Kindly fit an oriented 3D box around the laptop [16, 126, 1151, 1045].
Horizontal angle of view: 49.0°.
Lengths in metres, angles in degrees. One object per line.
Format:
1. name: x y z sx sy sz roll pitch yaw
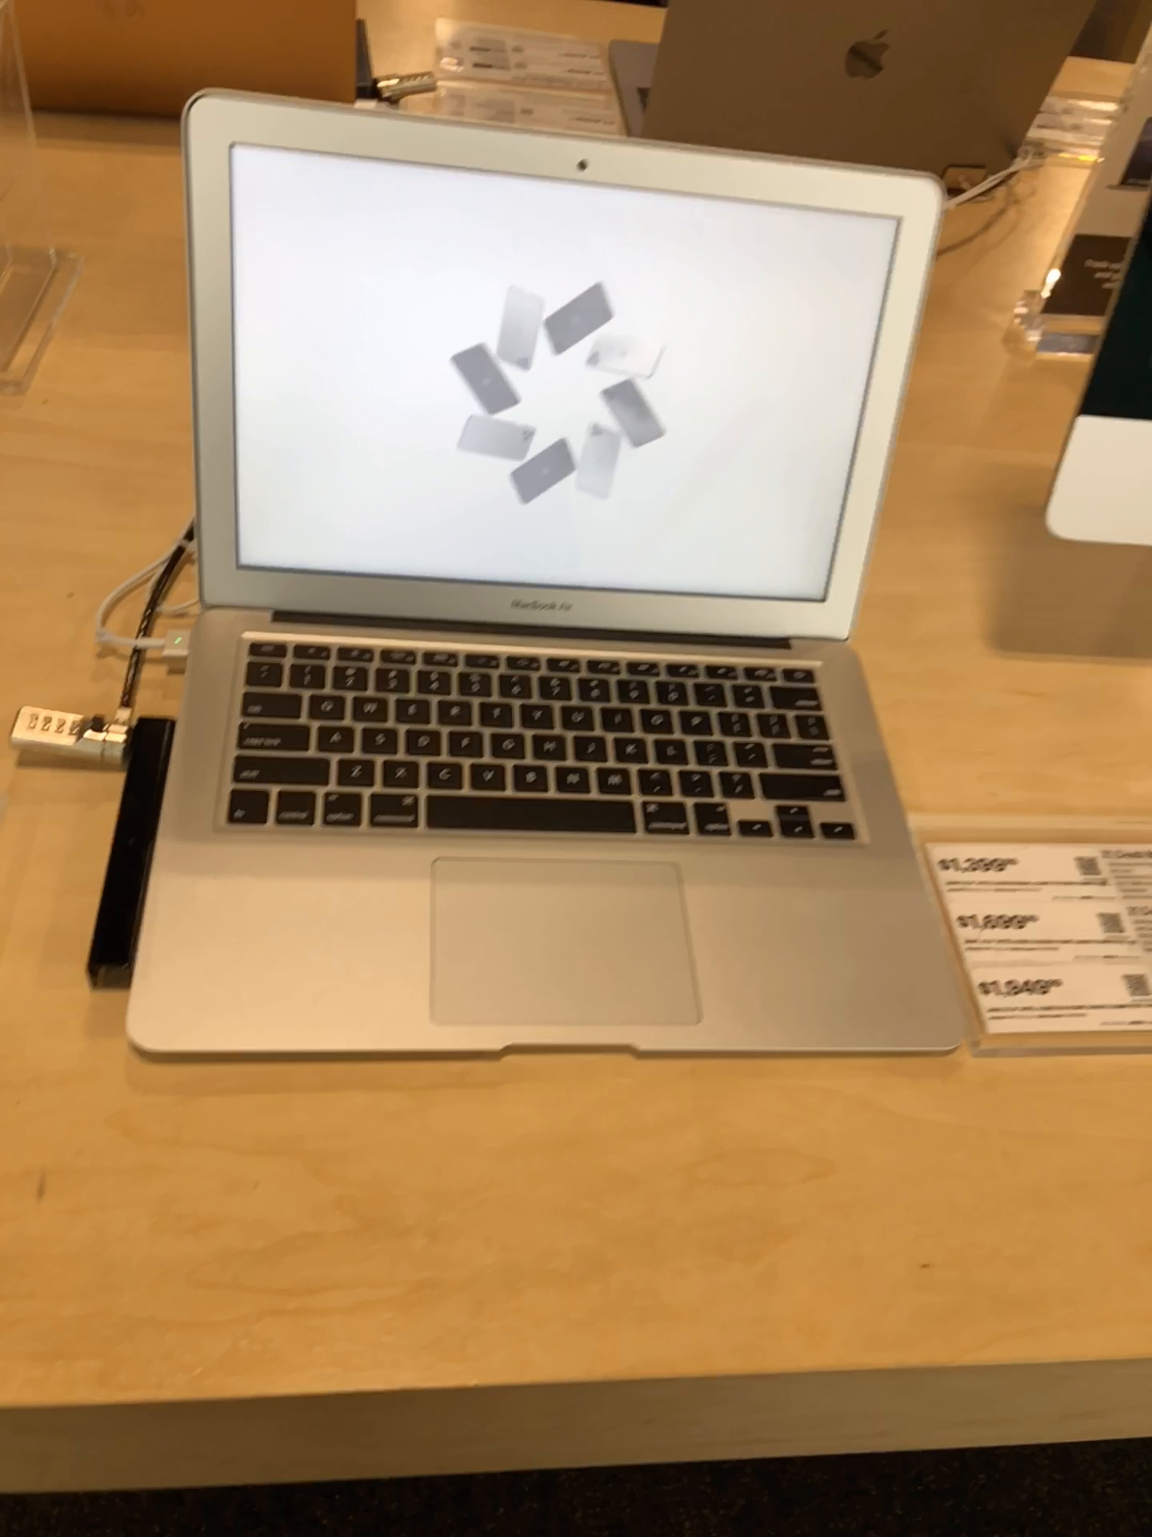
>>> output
1. laptop: -0.002 -0.077 0.515 0.324 0.202 0.311 2 49 -6
